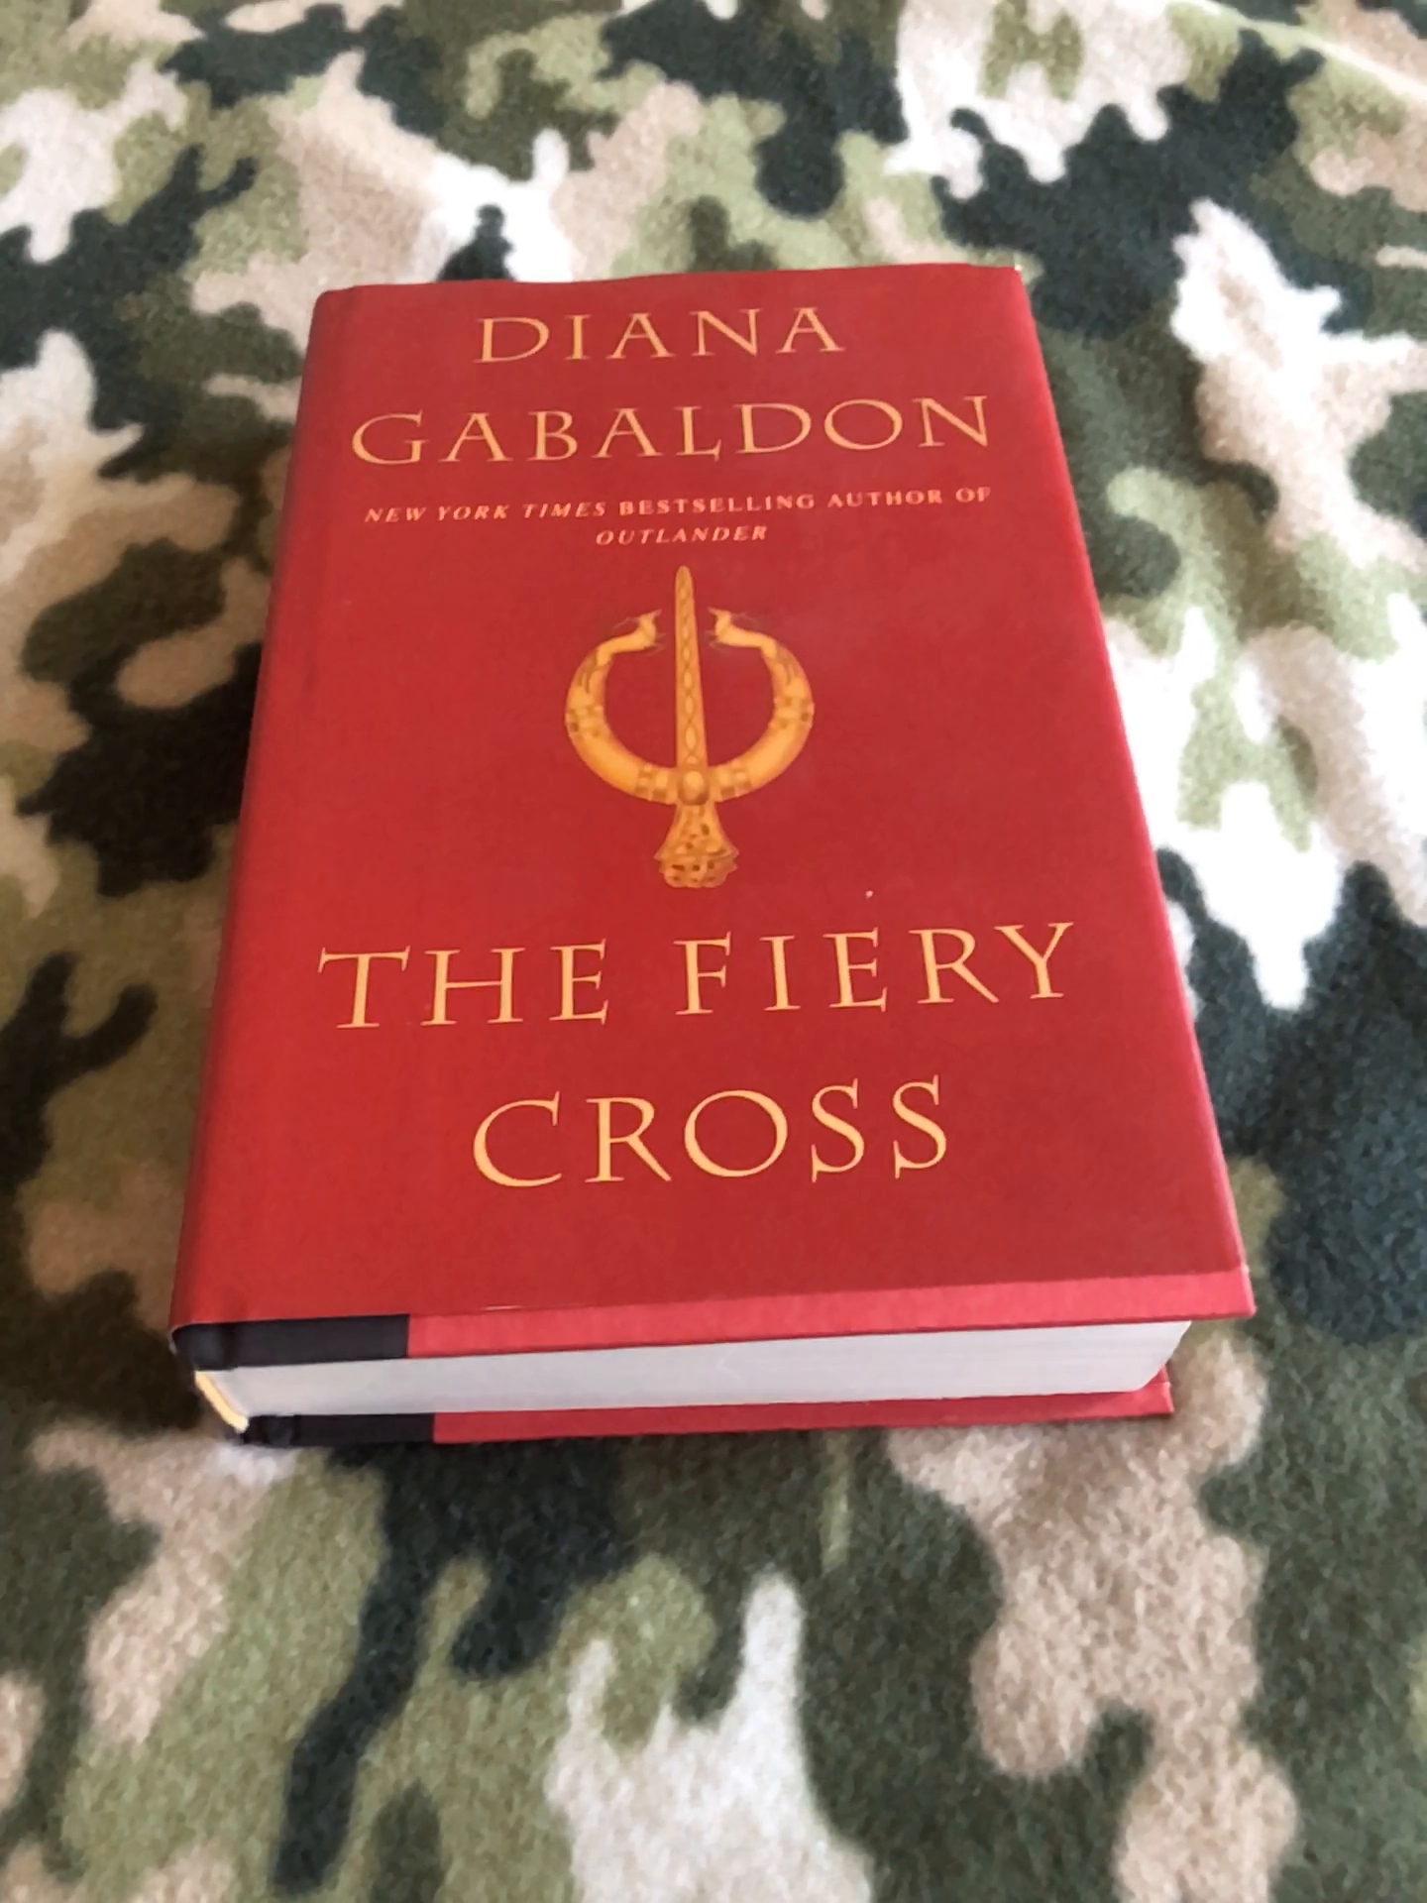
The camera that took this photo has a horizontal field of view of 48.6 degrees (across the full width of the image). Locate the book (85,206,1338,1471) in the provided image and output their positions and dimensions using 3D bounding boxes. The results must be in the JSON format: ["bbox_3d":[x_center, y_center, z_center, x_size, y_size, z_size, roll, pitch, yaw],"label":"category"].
[{"bbox_3d":[-0.005,-0.038,0.310,0.170,0.070,0.251,-1,58,-3],"label":"book"}]
